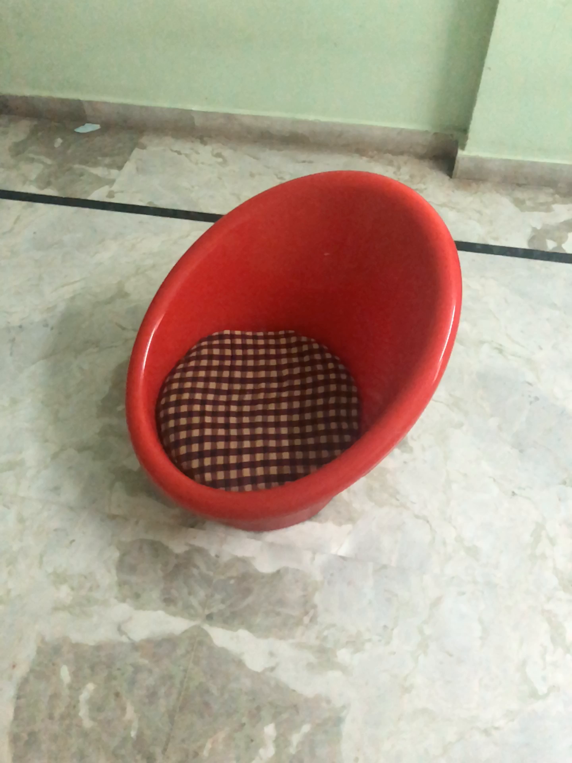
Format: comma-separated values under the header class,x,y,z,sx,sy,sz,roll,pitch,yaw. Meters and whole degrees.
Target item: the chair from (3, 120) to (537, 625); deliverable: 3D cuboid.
class,x,y,z,sx,sy,sz,roll,pitch,yaw
chair,-0.018,-0.055,1.334,0.742,0.507,0.622,-39,61,-24
